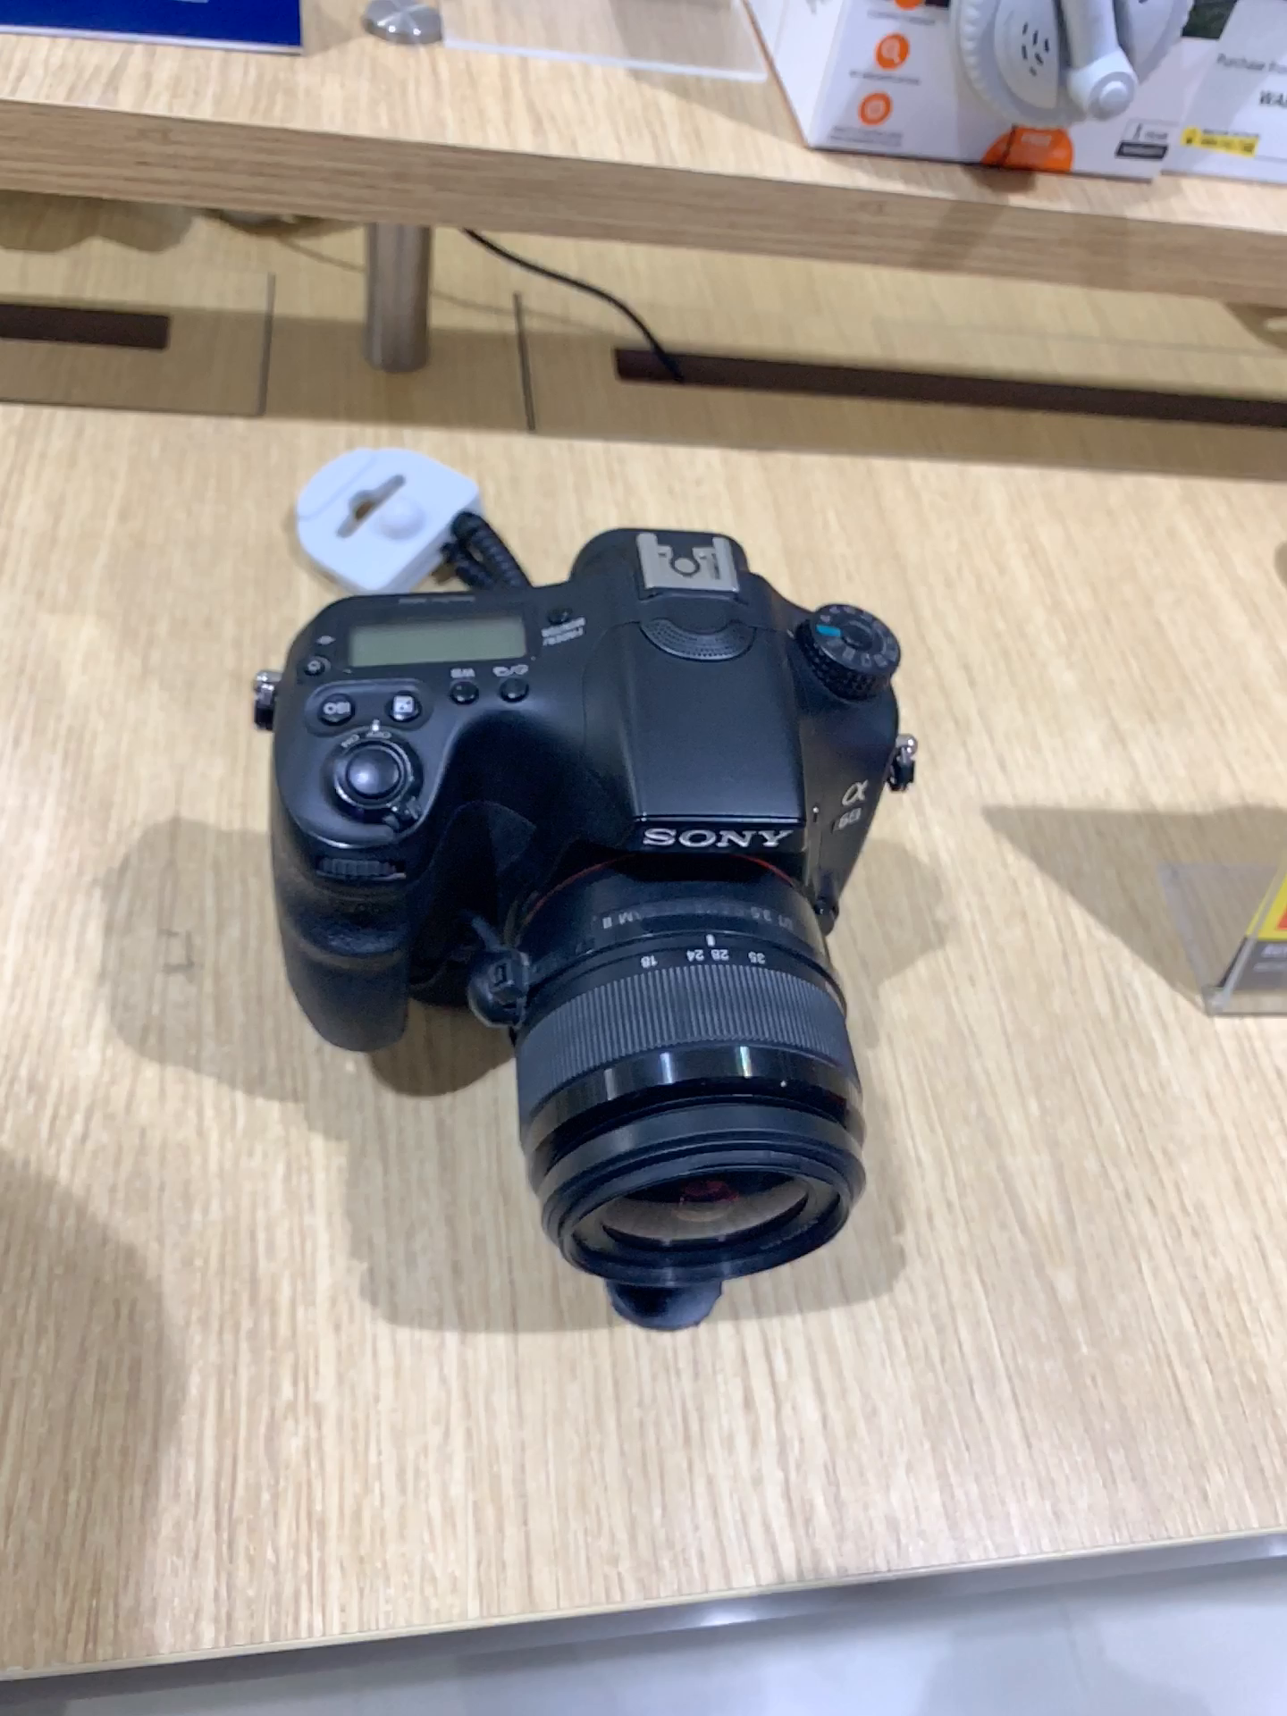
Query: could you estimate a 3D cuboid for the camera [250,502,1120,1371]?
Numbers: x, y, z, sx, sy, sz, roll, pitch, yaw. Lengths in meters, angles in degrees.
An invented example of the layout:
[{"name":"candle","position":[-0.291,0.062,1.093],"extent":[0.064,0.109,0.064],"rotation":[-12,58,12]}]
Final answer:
[{"name":"camera","position":[-0.007,0.013,0.273],"extent":[0.130,0.100,0.135],"rotation":[-2,53,-13]}]
